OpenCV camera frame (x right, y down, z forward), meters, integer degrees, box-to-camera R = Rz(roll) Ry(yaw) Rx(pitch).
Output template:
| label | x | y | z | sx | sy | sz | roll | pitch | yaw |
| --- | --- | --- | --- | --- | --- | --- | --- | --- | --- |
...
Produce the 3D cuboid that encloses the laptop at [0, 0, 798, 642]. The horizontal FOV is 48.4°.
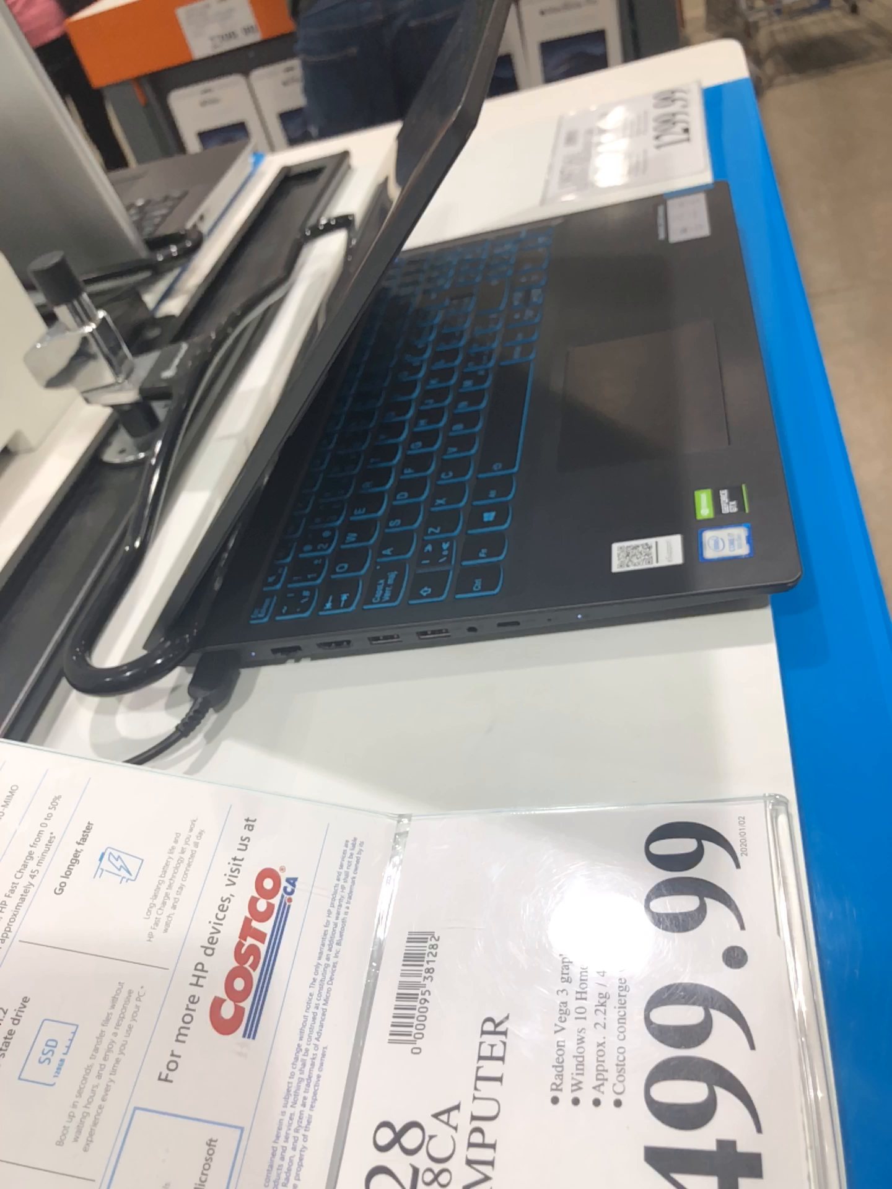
| label | x | y | z | sx | sy | sz | roll | pitch | yaw |
| --- | --- | --- | --- | --- | --- | --- | --- | --- | --- |
| laptop | 0.002 | -0.172 | 0.437 | 0.240 | 0.170 | 0.346 | -6 | 41 | 16 |
